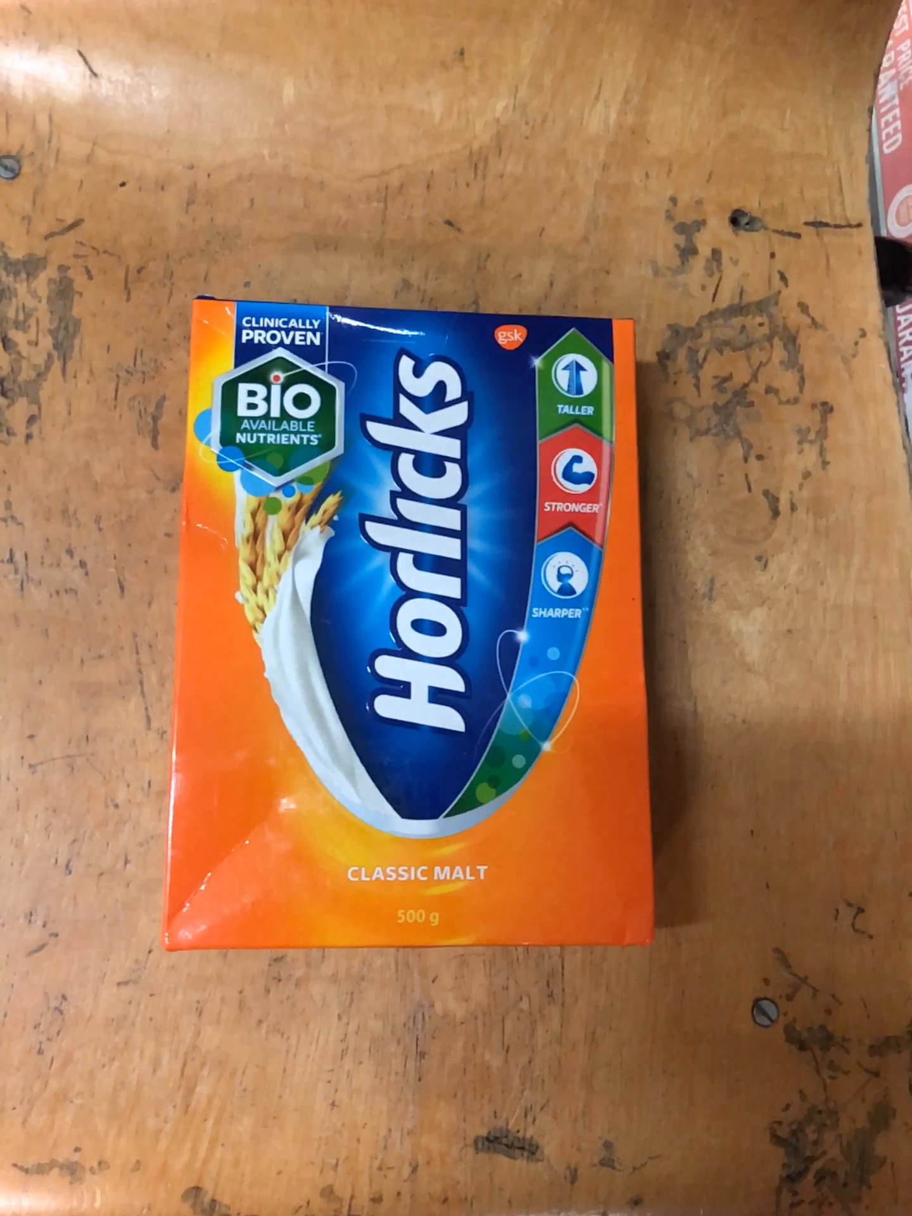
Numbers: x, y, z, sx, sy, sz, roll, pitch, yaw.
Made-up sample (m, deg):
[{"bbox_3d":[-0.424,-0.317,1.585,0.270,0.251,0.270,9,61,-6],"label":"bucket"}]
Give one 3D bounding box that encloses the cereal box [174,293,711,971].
[{"bbox_3d":[-0.005,0.009,0.314,0.140,0.080,0.180,1,83,-6],"label":"cereal box"}]
